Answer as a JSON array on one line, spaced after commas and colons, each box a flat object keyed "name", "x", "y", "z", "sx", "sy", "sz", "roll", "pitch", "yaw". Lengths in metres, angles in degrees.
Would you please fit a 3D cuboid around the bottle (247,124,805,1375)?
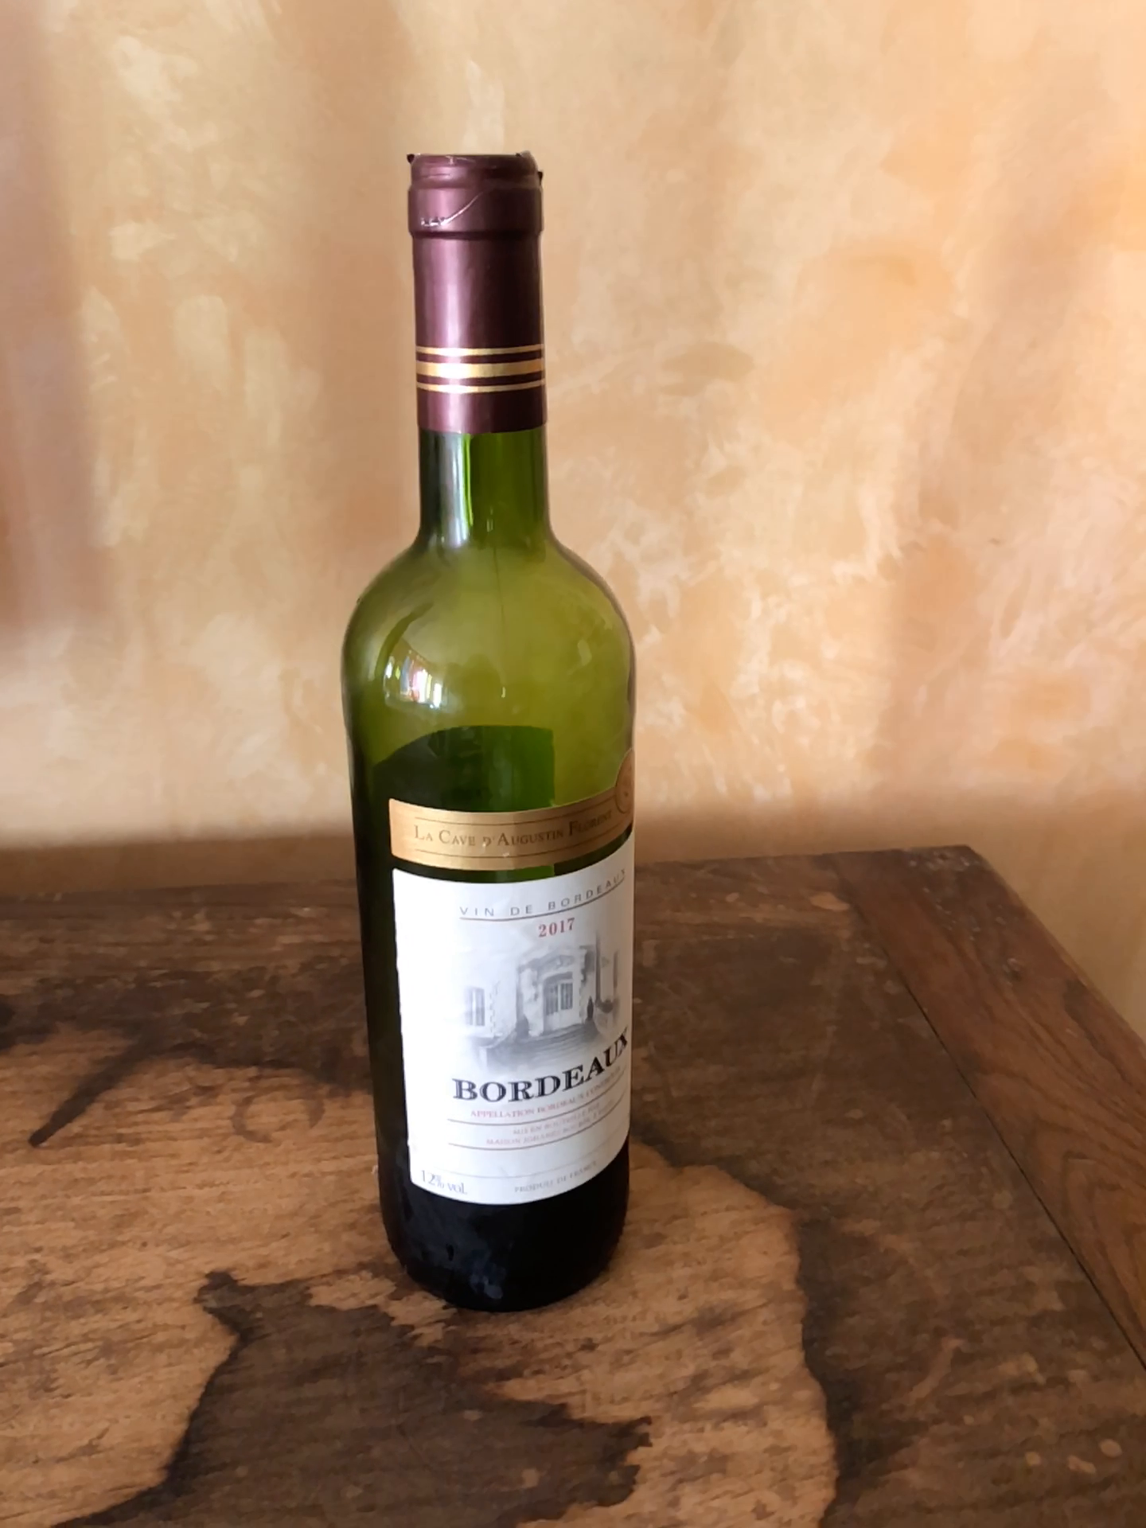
[{"name": "bottle", "x": -0.016, "y": 0.002, "z": 0.323, "sx": 0.090, "sy": 0.288, "sz": 0.080, "roll": -12, "pitch": 27, "yaw": -29}]
